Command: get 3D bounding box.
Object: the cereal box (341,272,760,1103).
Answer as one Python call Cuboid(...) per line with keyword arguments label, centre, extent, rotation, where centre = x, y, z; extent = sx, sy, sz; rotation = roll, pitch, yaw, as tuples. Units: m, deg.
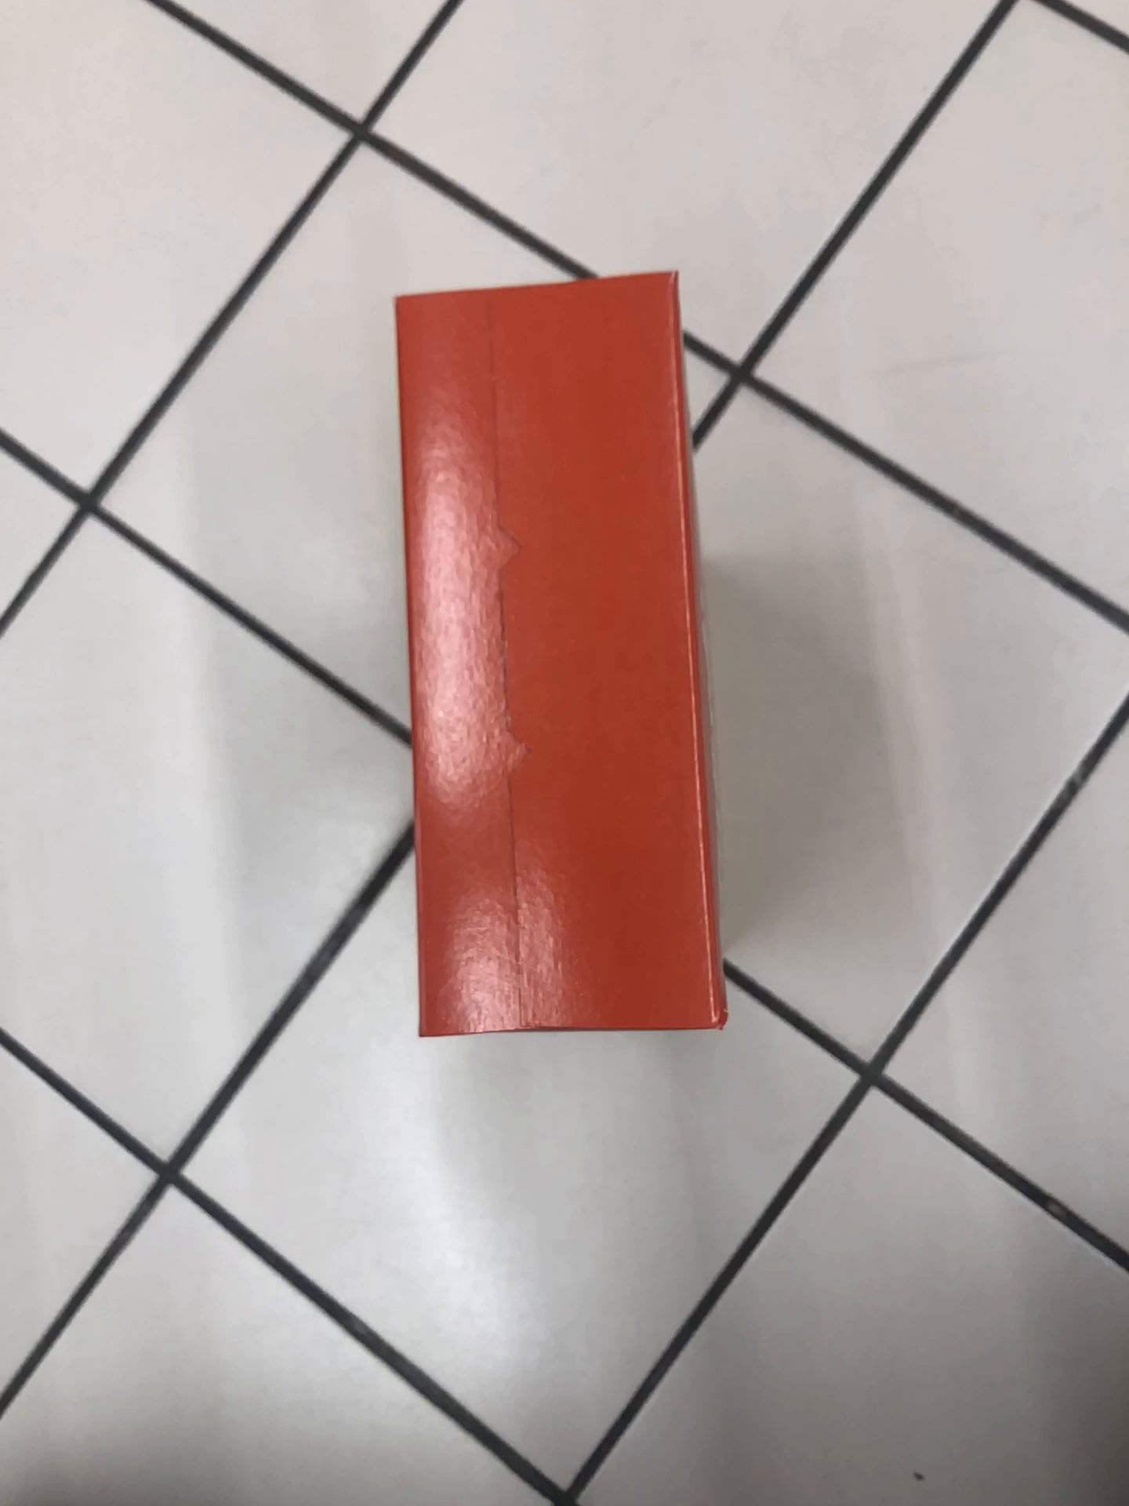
Cuboid(label="cereal box", centre=(0.009, -0.003, 0.381), extent=(0.080, 0.240, 0.170), rotation=(-3, 84, 7))
